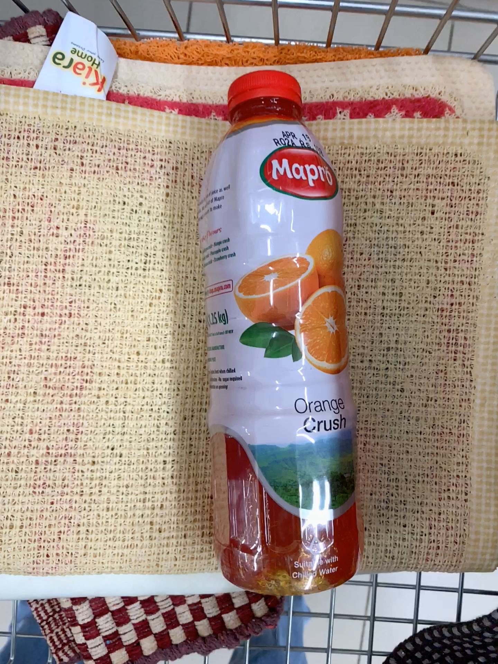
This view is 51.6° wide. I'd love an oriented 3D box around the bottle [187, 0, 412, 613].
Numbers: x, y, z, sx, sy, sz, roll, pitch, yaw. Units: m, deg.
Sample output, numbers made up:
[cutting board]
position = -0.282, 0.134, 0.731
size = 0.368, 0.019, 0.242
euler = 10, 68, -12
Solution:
[bottle]
position = 0.020, -0.012, 0.248
size = 0.080, 0.070, 0.240
euler = 1, 87, -26
